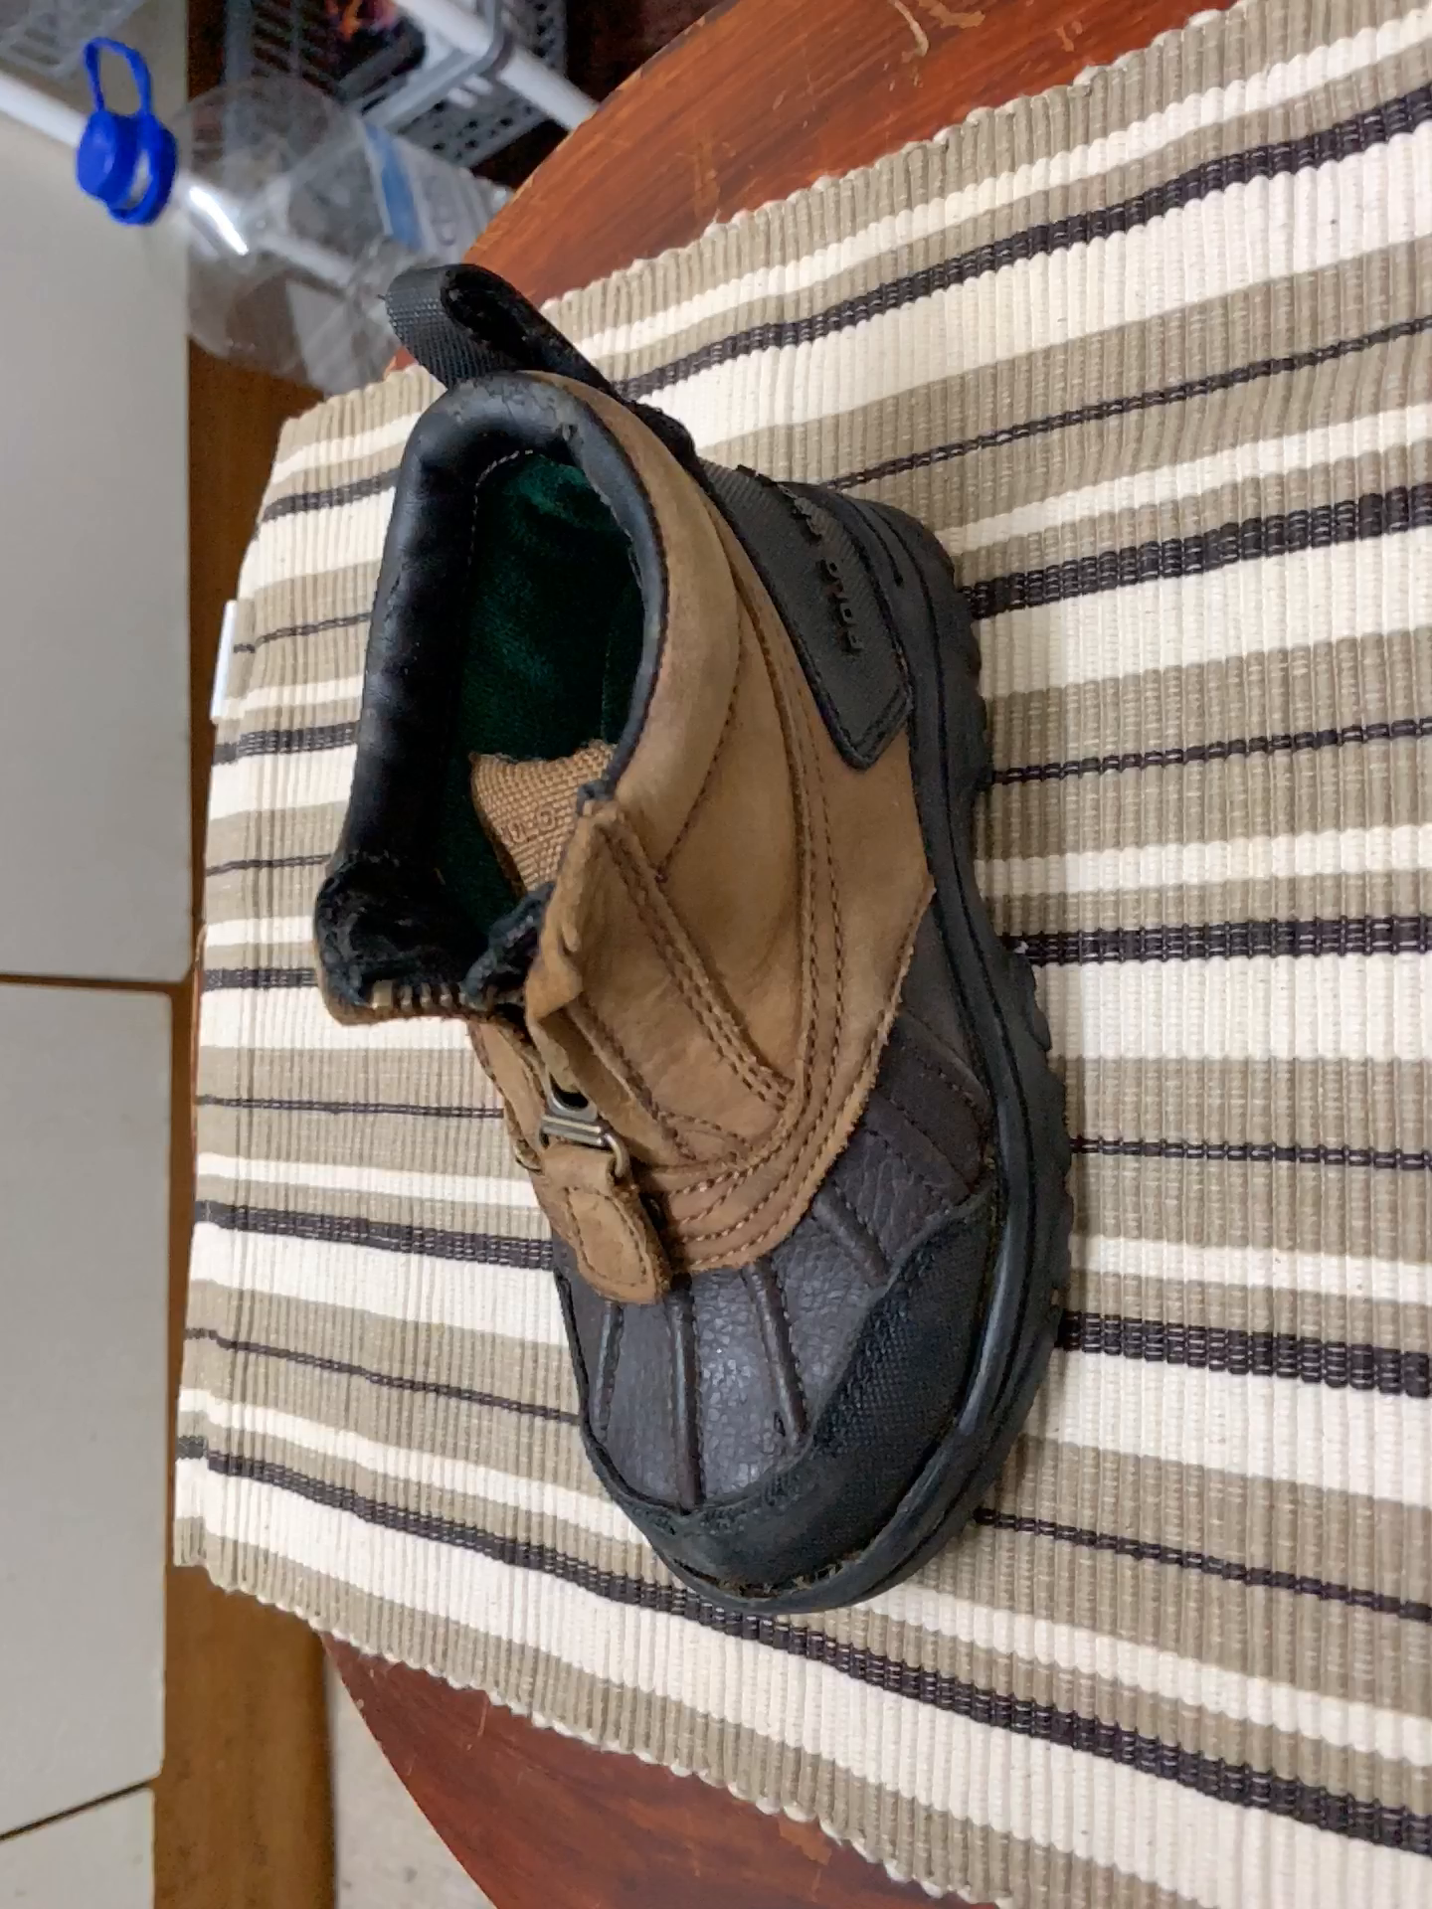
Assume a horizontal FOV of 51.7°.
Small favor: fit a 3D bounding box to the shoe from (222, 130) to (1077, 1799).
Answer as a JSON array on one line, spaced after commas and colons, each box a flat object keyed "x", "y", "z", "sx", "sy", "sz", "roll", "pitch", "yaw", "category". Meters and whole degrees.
[{"x": -0.008, "y": 0.002, "z": 0.218, "sx": 0.080, "sy": 0.089, "sz": 0.180, "roll": -6, "pitch": 81, "yaw": 39, "category": "shoe"}]
